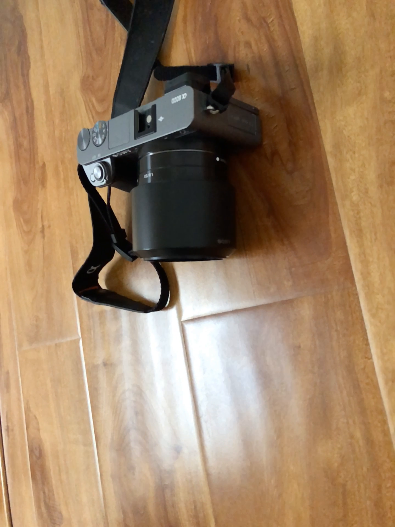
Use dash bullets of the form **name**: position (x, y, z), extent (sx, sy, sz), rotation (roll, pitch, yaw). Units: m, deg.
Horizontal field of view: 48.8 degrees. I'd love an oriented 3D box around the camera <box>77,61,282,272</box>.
- **camera**: position (-0.018, -0.053, 0.309), extent (0.131, 0.070, 0.110), rotation (-5, 86, 43)
